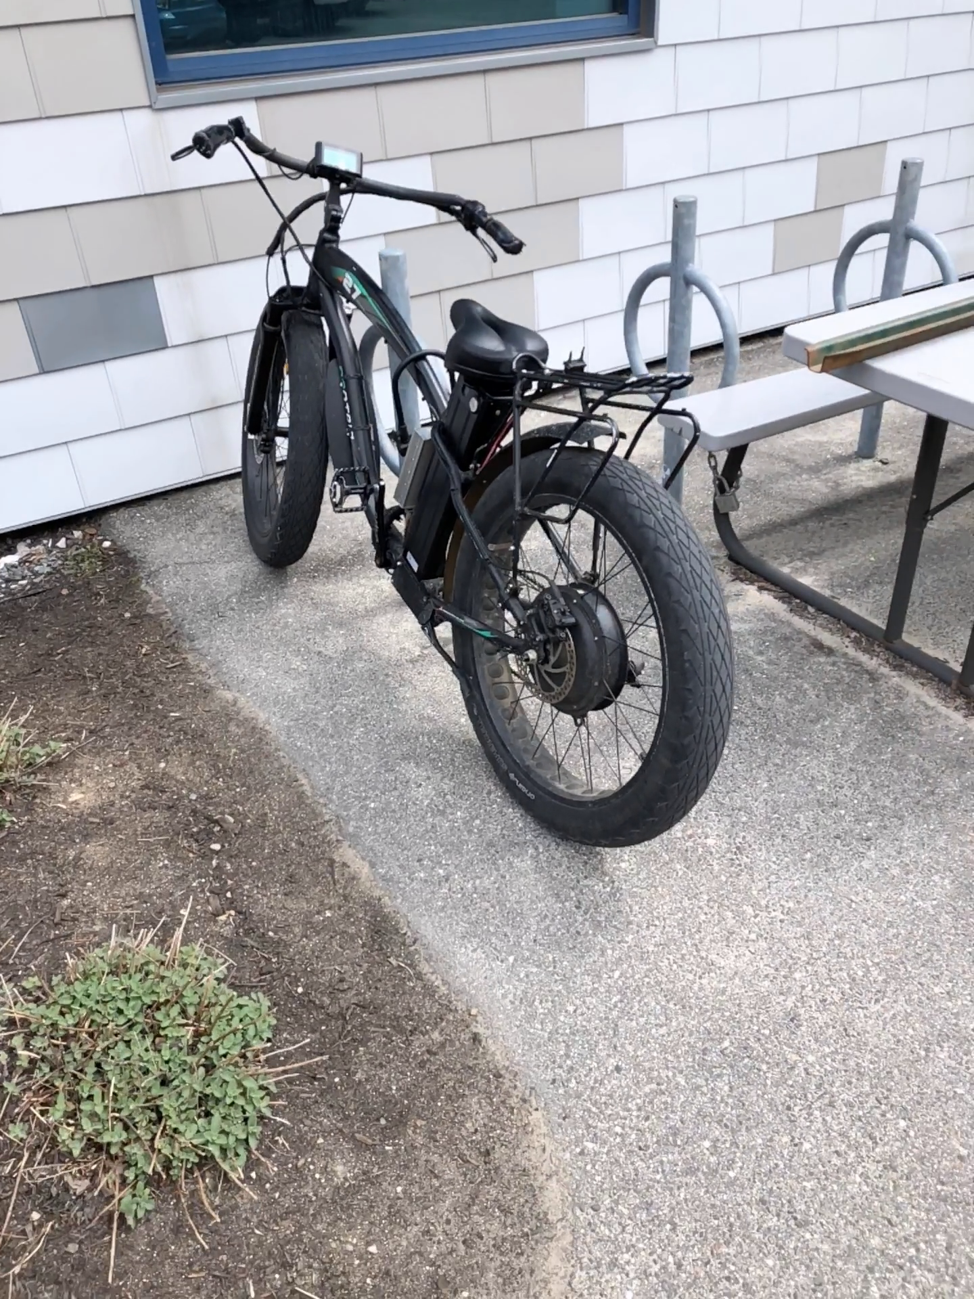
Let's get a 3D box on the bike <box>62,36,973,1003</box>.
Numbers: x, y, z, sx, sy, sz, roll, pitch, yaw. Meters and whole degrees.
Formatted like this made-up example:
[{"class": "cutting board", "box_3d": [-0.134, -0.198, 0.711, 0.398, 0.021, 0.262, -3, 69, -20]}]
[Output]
[{"class": "bike", "box_3d": [-0.063, -0.510, 2.266, 0.913, 1.132, 1.866, -21, 40, -24]}]
